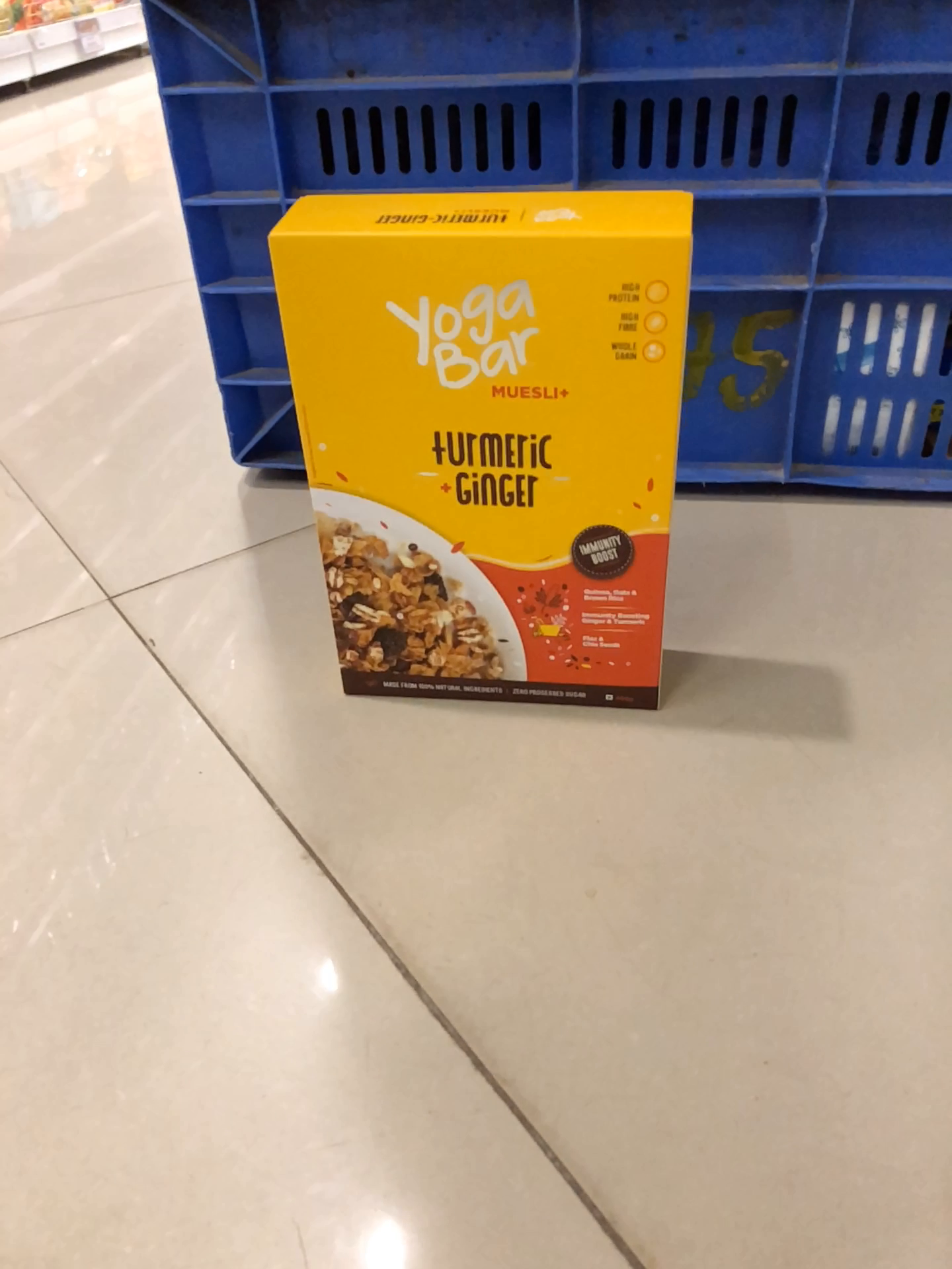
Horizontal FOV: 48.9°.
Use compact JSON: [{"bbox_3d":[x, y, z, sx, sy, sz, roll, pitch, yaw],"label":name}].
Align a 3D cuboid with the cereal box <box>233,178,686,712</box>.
[{"bbox_3d":[0.002,-0.077,0.476,0.170,0.228,0.060,2,35,8],"label":"cereal box"}]
